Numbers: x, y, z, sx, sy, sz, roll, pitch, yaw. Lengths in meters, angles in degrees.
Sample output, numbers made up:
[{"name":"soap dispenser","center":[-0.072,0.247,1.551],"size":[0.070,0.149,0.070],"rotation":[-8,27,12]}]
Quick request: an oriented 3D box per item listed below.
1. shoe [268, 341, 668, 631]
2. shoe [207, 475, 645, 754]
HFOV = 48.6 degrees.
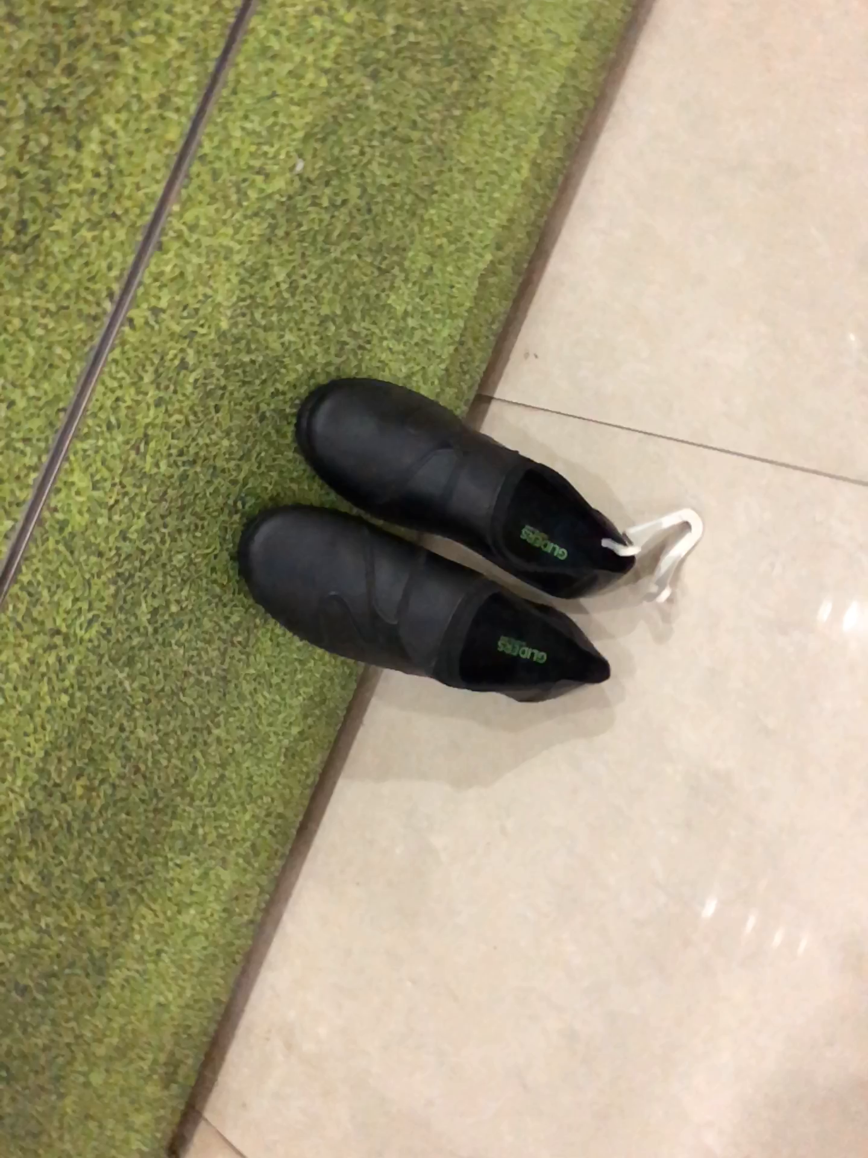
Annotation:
[{"name":"shoe","center":[0.023,-0.053,0.588],"size":[0.074,0.228,0.067],"rotation":[-64,22,1]},{"name":"shoe","center":[-0.009,0.021,0.618],"size":[0.087,0.248,0.107],"rotation":[-69,16,-1]}]
